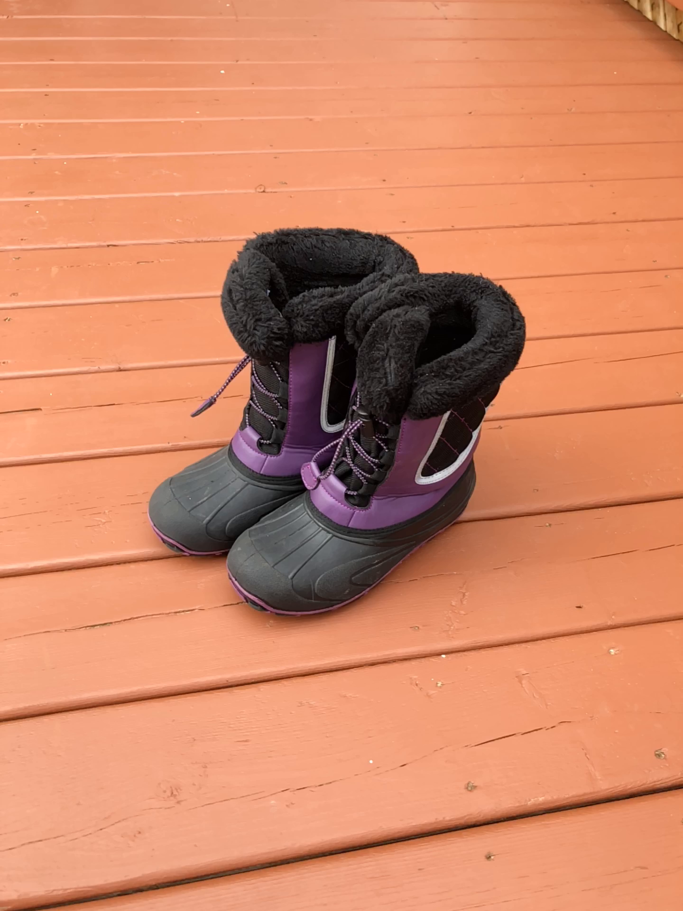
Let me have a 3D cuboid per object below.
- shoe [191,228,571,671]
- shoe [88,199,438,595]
[{"bbox_3d":[0.024,-0.001,0.617,0.240,0.279,0.120,-27,54,-27],"label":"shoe"},{"bbox_3d":[-0.066,-0.049,0.681,0.240,0.279,0.120,-23,52,-25],"label":"shoe"}]
